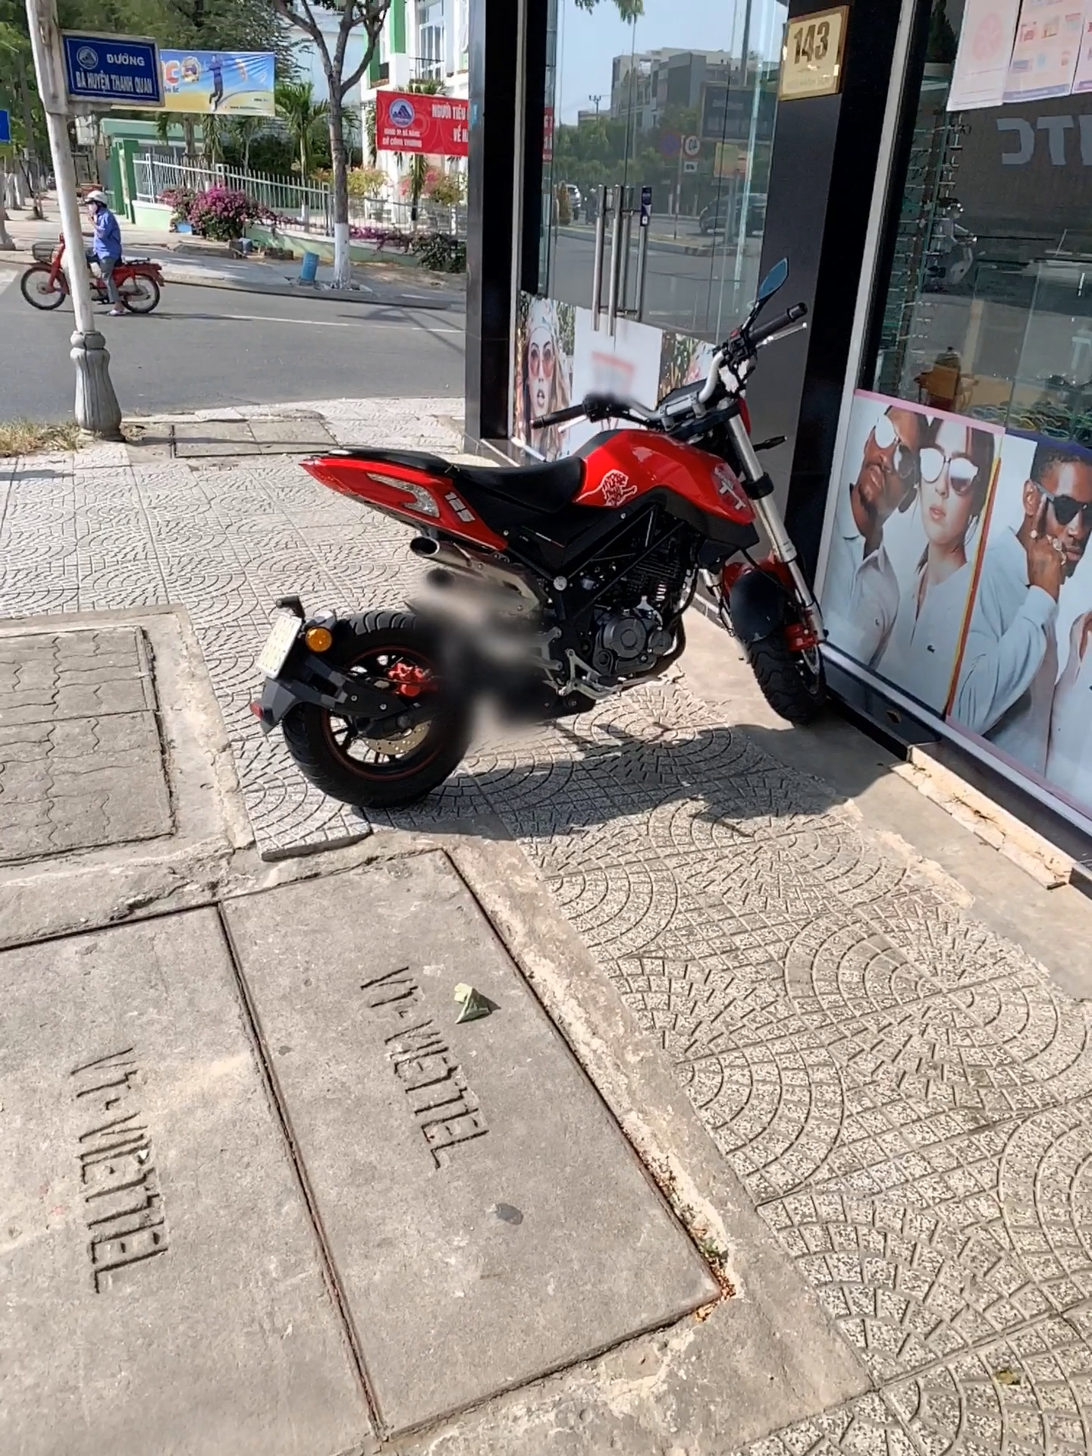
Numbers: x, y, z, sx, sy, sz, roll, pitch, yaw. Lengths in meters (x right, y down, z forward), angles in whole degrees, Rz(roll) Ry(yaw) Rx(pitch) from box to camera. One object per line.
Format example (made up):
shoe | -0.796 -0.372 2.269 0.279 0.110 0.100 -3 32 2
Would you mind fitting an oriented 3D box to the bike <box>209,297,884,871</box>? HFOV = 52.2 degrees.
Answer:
bike | 0.089 -0.640 3.437 2.125 1.216 0.834 -18 31 -38
